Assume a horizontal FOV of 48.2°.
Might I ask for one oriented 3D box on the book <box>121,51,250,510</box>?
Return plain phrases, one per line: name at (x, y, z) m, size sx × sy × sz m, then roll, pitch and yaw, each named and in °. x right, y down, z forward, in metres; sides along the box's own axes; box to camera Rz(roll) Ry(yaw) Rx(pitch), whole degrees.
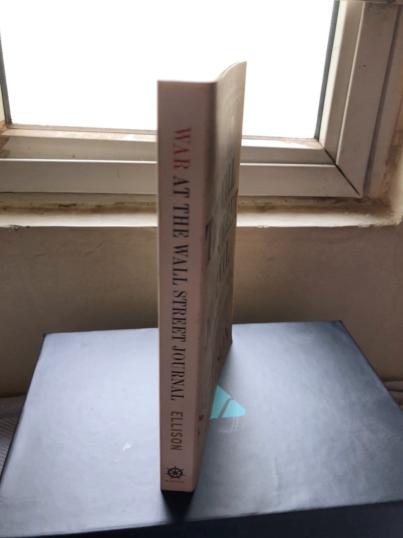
book at (-0.001, -0.007, 0.245) m, size 0.030 × 0.199 × 0.151 m, roll 5°, pitch 26°, yaw 7°
